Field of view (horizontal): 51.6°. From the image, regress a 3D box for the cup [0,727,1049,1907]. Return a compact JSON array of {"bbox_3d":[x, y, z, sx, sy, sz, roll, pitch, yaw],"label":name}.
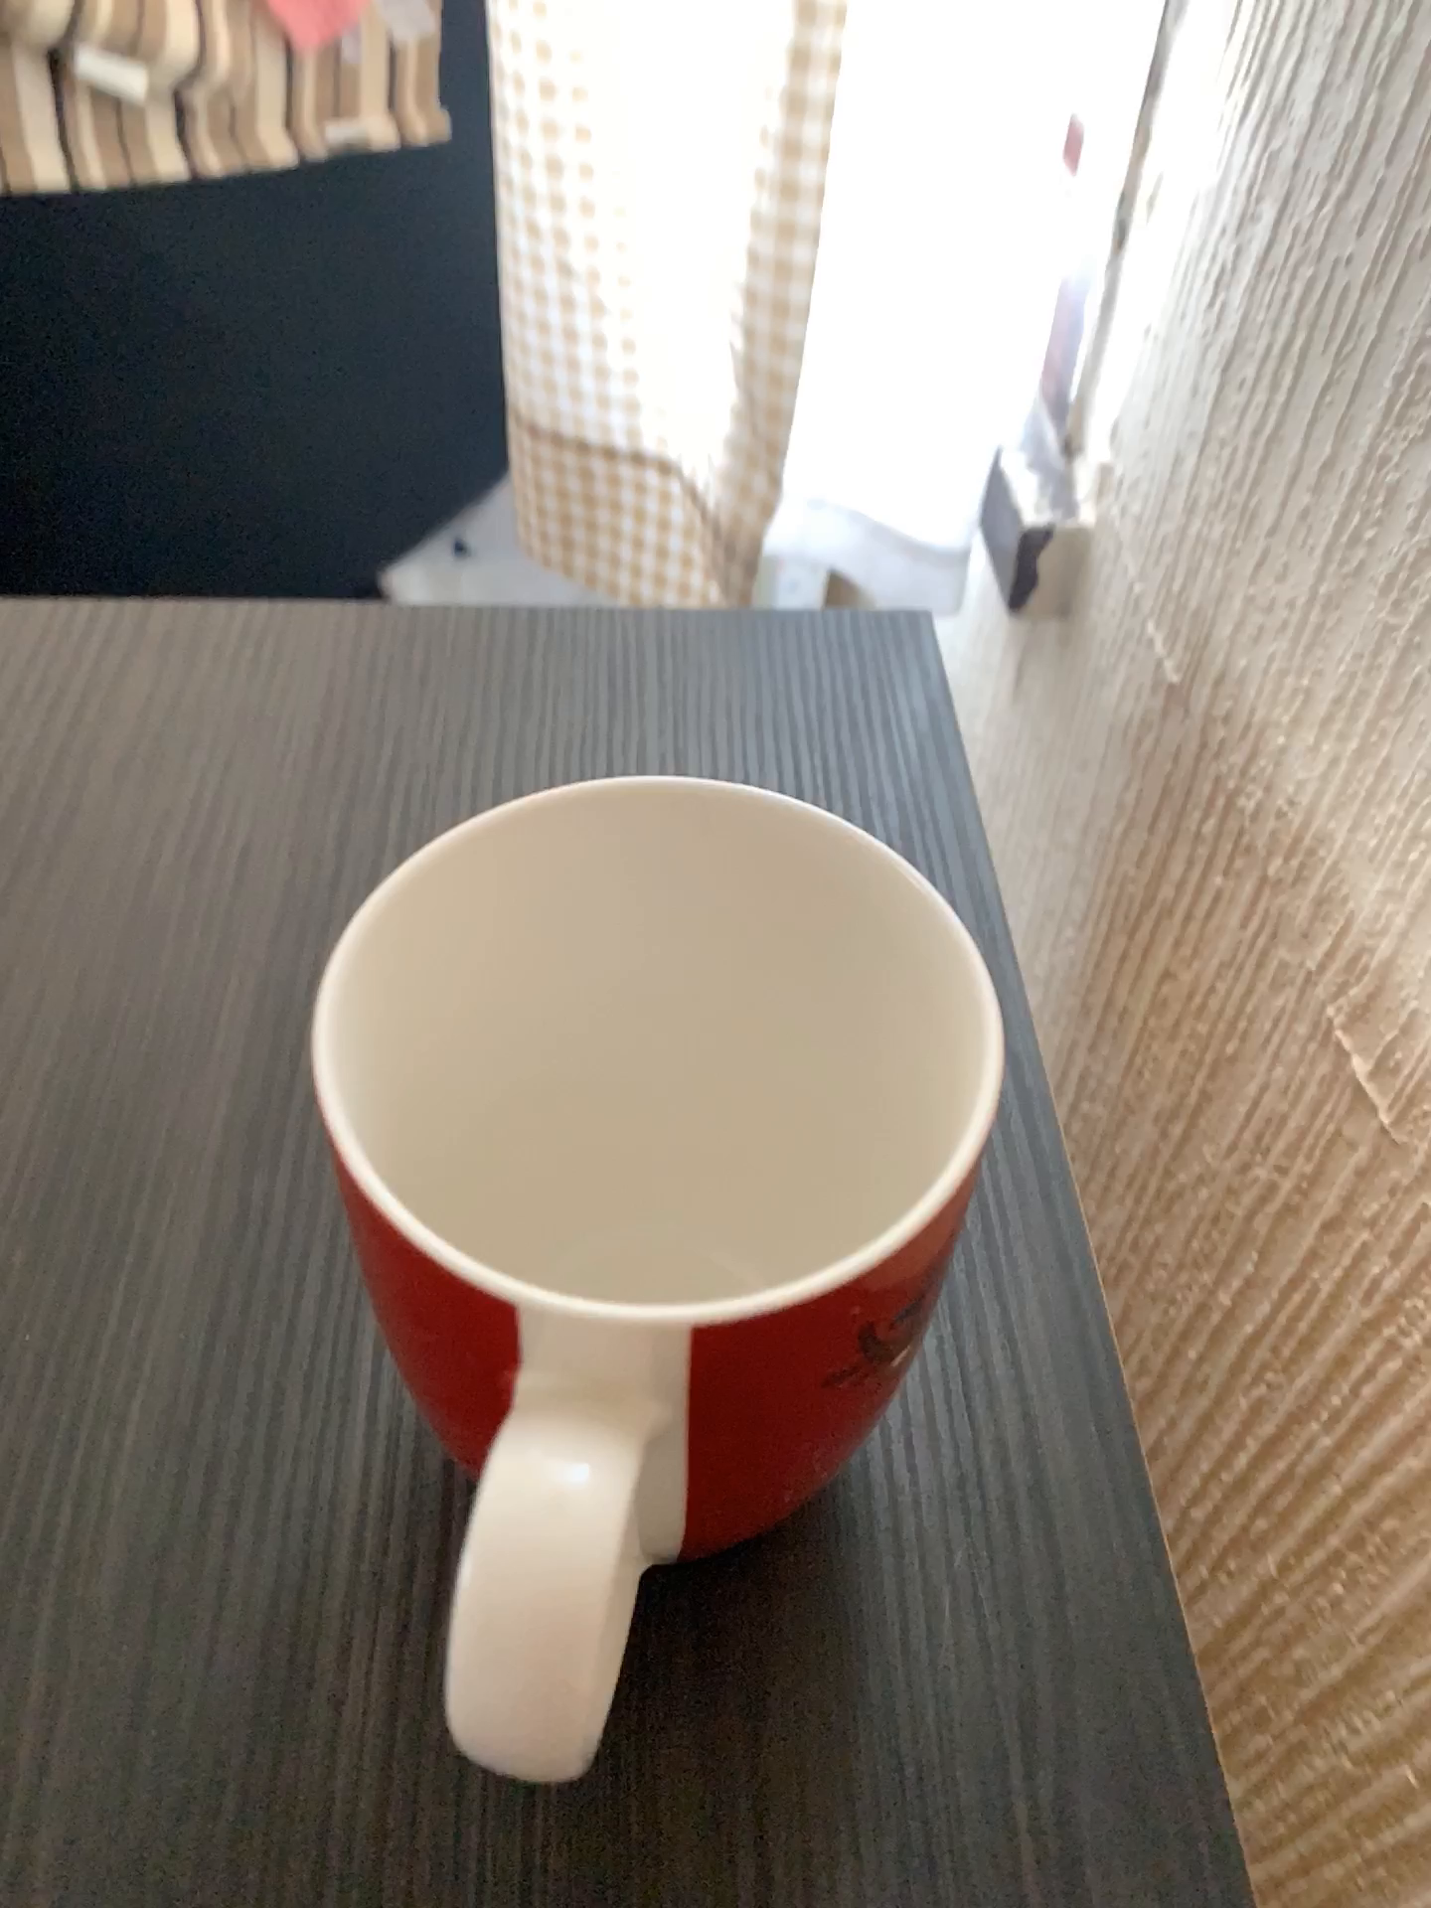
[{"bbox_3d":[-0.012,0.051,0.197,0.090,0.089,0.131,7,47,3],"label":"cup"}]
